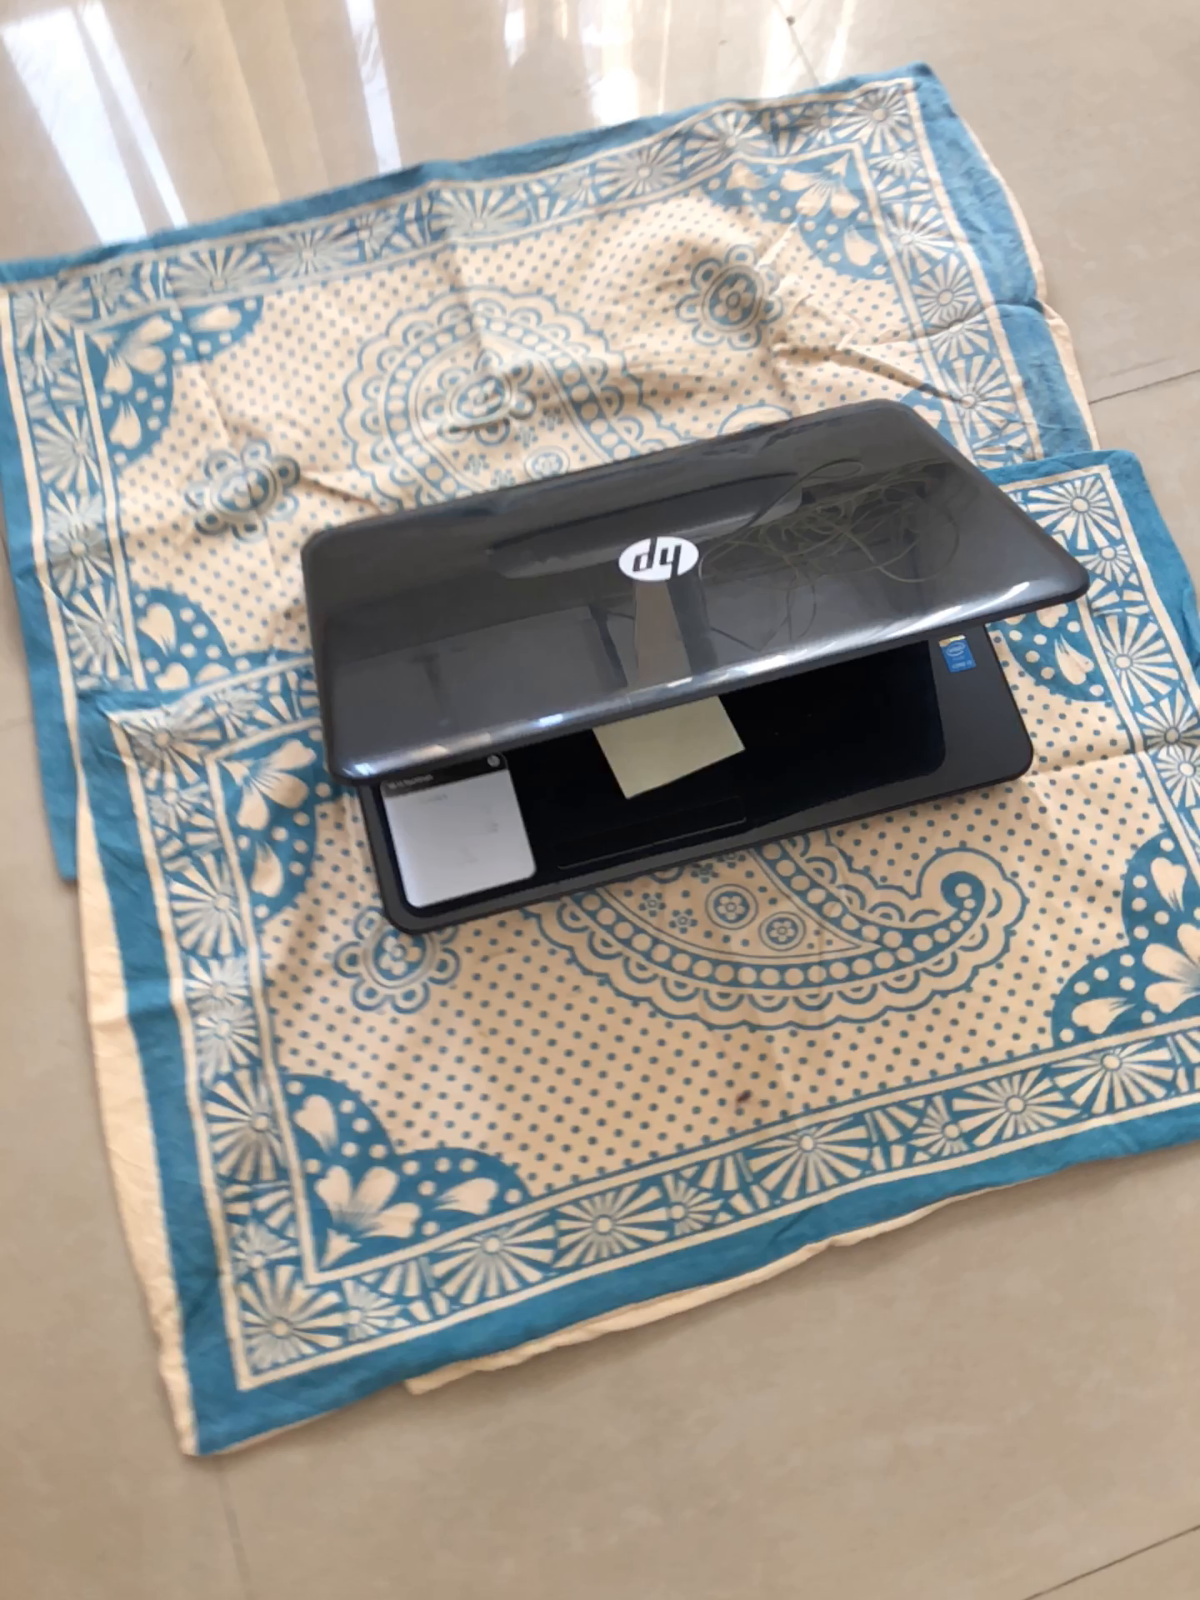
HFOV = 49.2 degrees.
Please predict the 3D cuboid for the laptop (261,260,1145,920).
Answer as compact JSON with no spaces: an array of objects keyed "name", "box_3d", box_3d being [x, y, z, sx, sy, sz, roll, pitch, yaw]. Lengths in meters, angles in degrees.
[{"name":"laptop","box_3d":[0.036,-0.106,0.694,0.363,0.151,0.237,-14,70,-3]}]
